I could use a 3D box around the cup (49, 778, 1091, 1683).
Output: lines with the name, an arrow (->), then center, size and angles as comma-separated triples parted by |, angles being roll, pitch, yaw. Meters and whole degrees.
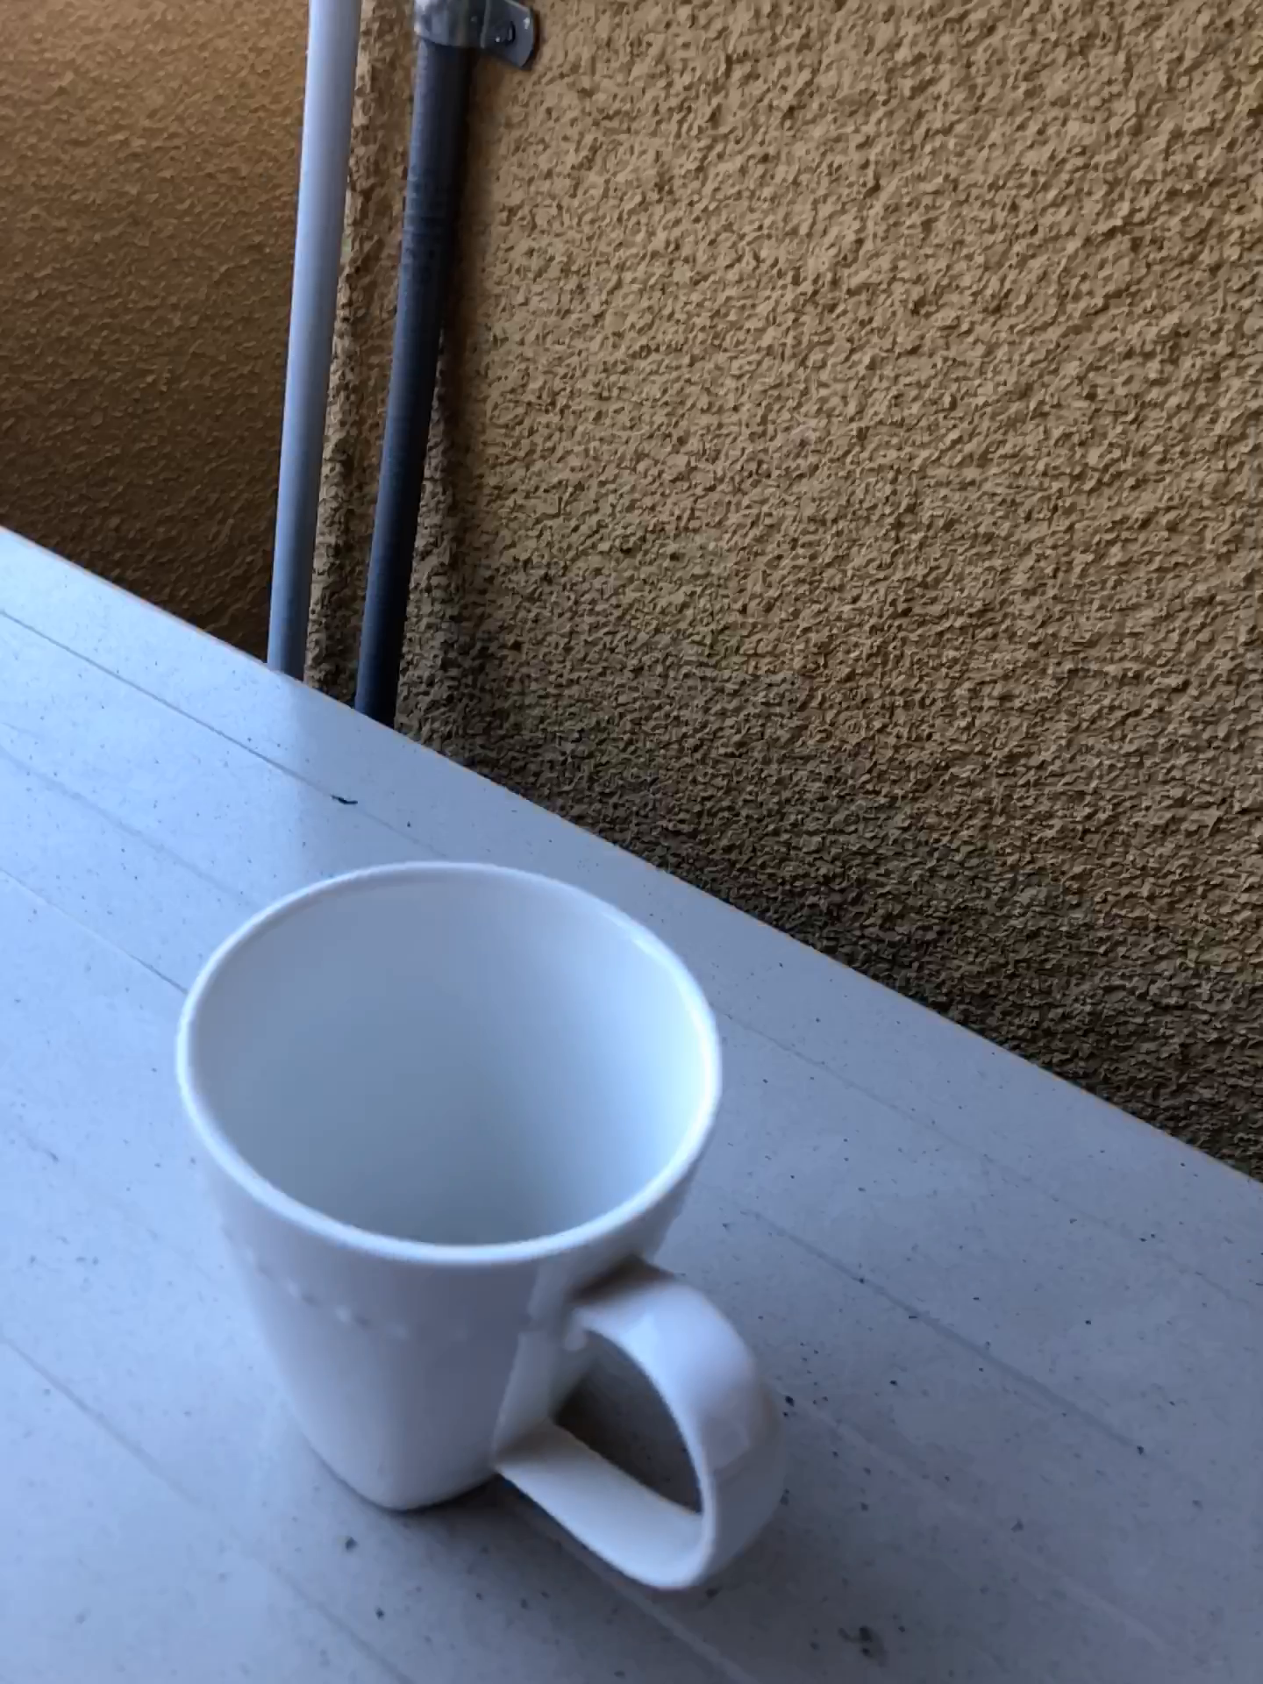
cup -> -0.019, 0.079, 0.254 | 0.140, 0.100, 0.100 | 36, 43, 30
